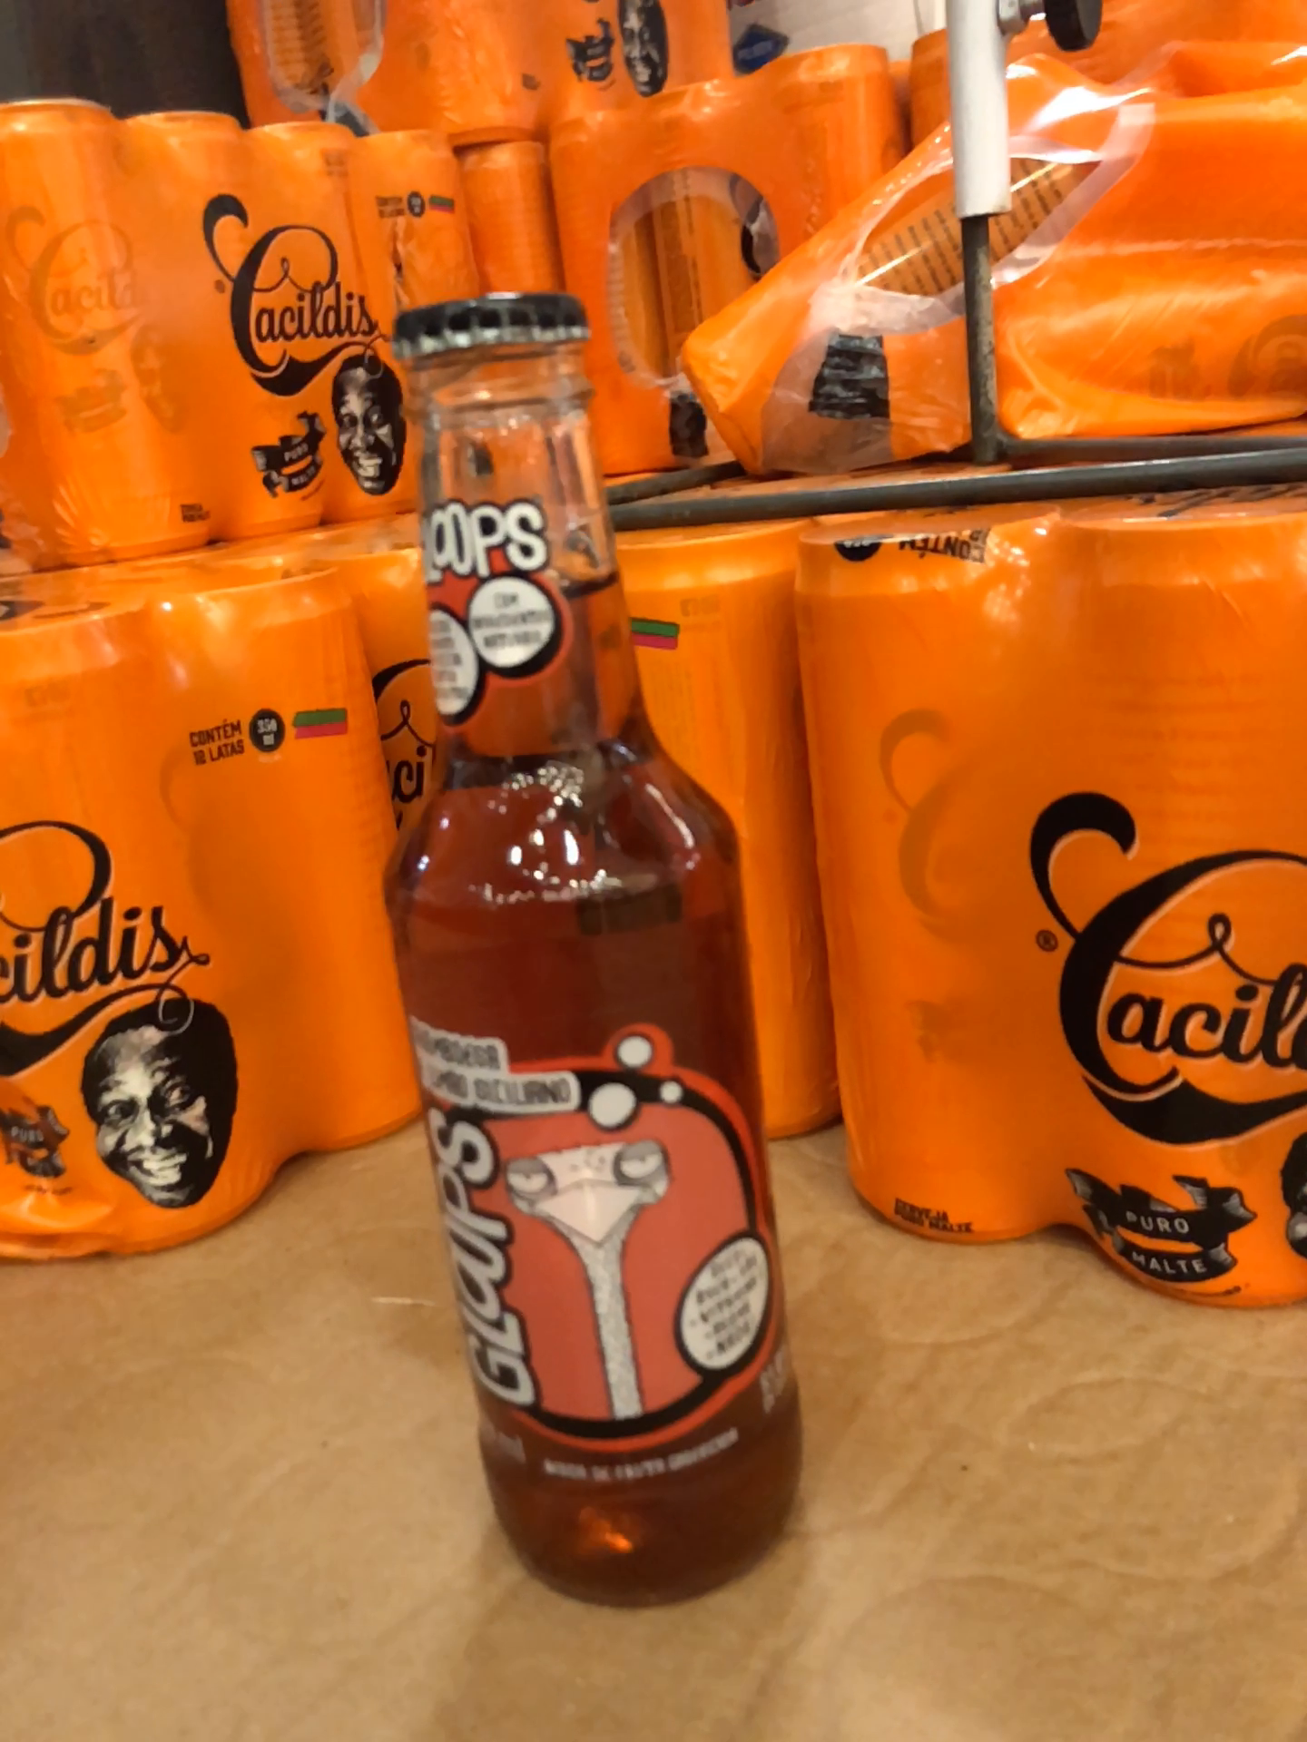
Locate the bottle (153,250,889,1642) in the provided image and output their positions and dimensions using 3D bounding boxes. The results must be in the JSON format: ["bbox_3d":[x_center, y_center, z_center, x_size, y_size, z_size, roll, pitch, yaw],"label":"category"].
[{"bbox_3d":[-0.010,0.015,0.217,0.070,0.189,0.050,-1,17,19],"label":"bottle"}]
